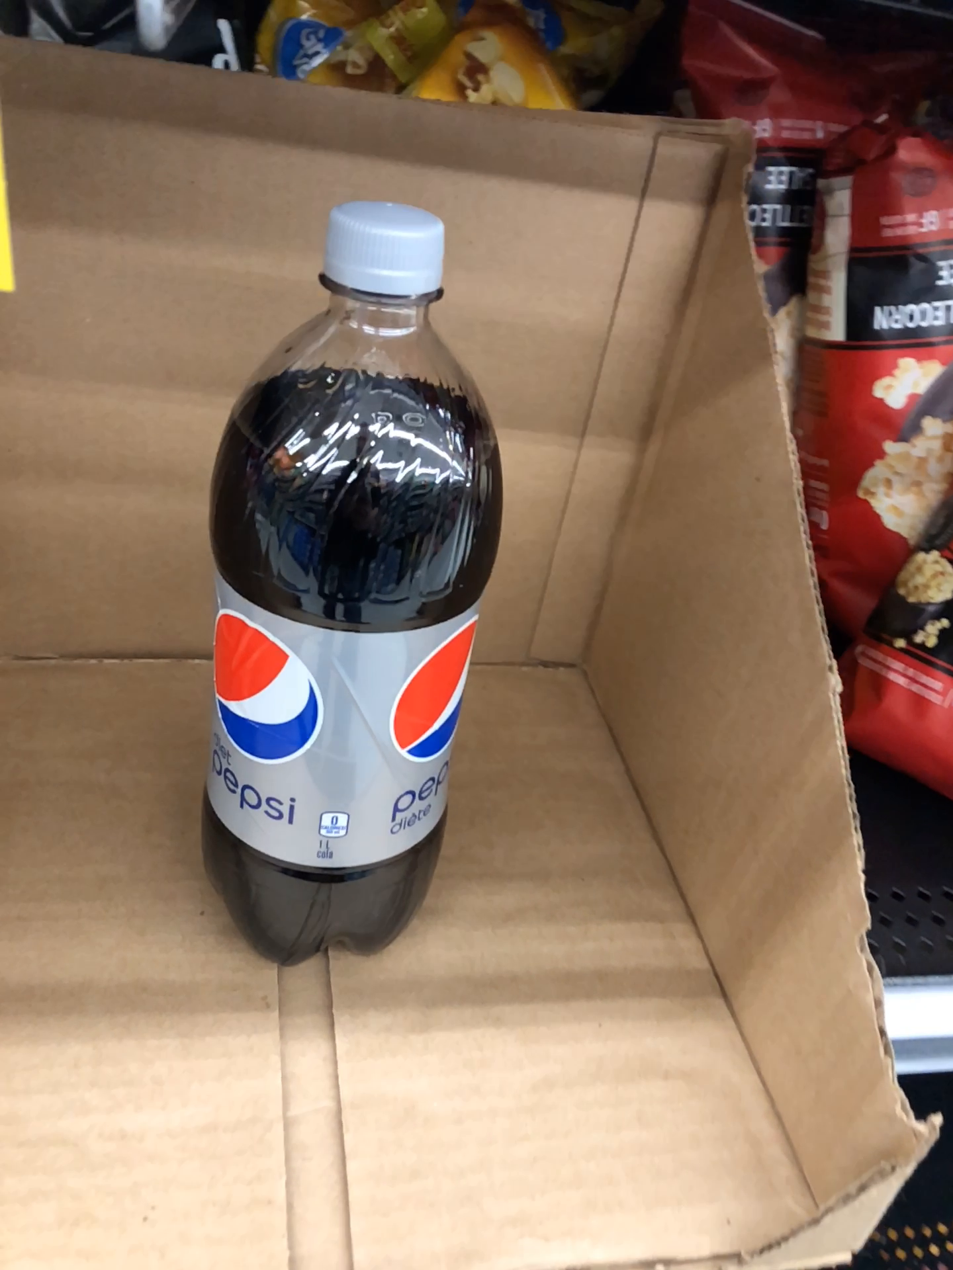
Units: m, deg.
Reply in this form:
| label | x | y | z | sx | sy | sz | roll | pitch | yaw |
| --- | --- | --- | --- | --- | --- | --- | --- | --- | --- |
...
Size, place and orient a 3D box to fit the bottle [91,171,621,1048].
| label | x | y | z | sx | sy | sz | roll | pitch | yaw |
| --- | --- | --- | --- | --- | --- | --- | --- | --- | --- |
| bottle | -0.042 | 0.000 | 0.306 | 0.080 | 0.228 | 0.090 | 33 | 41 | 28 |
